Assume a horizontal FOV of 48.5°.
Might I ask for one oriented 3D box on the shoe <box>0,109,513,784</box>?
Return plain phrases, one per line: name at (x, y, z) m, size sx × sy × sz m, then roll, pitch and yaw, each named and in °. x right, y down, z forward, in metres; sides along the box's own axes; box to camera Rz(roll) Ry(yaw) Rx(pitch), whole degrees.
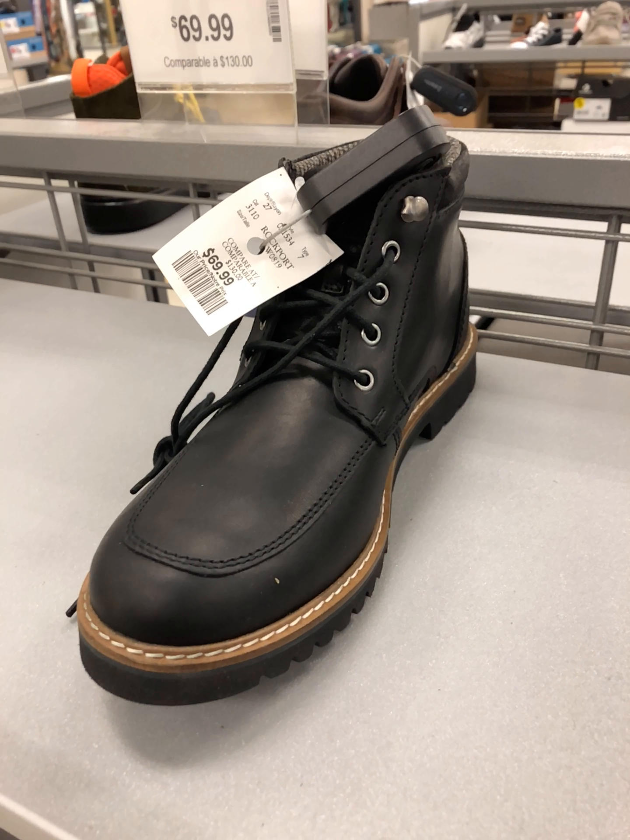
shoe at (-0.008, -0.029, 0.310) m, size 0.120 × 0.139 × 0.282 m, roll 11°, pitch 39°, yaw 23°
